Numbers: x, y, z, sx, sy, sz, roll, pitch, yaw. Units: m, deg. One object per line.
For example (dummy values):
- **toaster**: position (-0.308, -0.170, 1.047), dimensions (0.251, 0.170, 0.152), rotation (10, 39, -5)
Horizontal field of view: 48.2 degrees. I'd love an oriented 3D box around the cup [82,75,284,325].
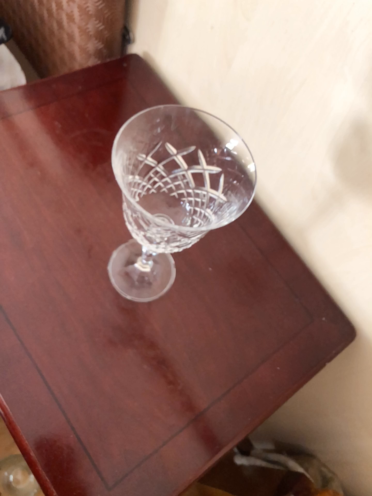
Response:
- **cup**: position (-0.015, -0.022, 0.330), dimensions (0.091, 0.171, 0.092), rotation (6, 64, -13)
